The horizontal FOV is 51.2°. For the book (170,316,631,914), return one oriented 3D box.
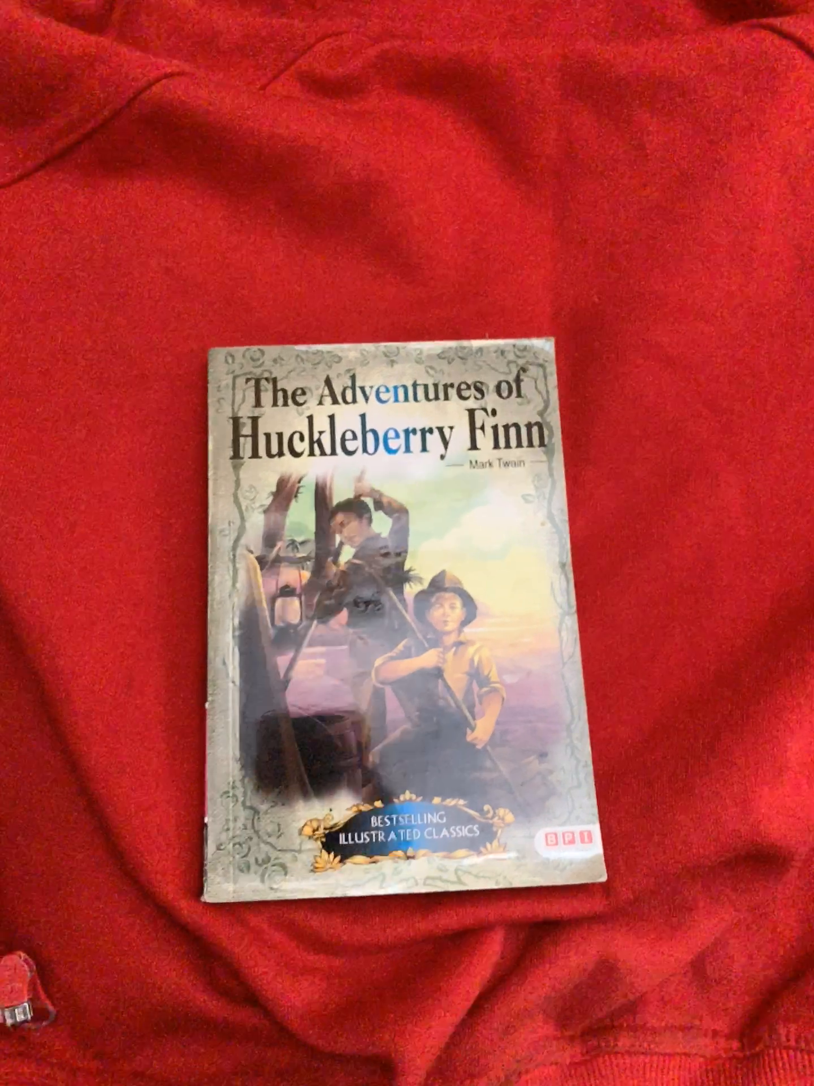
[{"bbox_3d":[-0.006,0.015,0.271,0.130,0.020,0.180,-2,76,-3],"label":"book"}]
